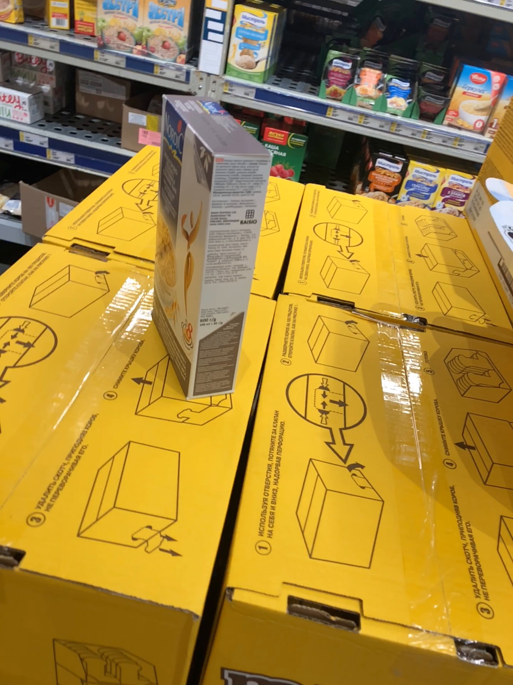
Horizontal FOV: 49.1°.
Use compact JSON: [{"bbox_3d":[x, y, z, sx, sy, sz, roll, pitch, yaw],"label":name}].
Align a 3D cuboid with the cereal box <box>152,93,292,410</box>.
[{"bbox_3d":[-0.043,-0.077,0.486,0.050,0.218,0.151,-5,39,-22],"label":"cereal box"}]
